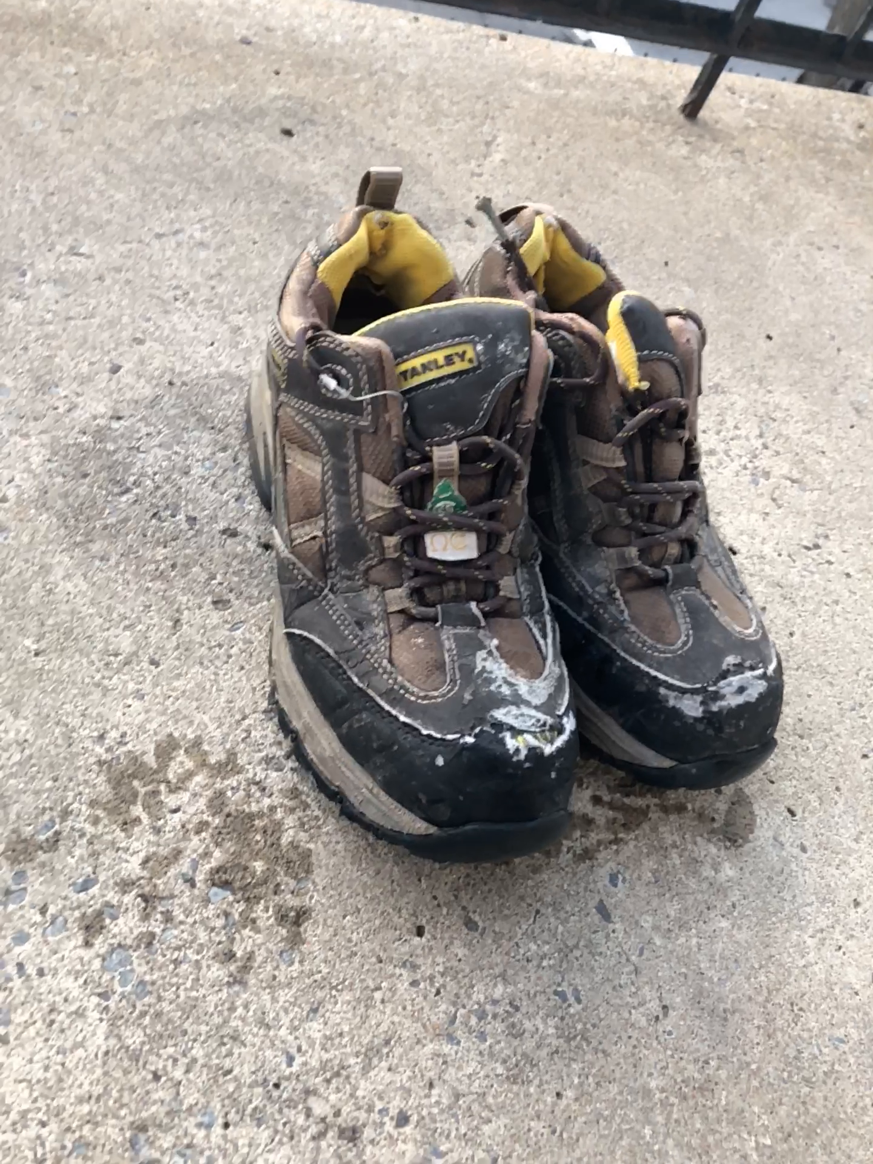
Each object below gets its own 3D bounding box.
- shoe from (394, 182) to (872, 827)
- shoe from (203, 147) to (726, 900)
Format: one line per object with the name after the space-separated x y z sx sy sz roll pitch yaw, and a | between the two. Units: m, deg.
0.088 -0.036 0.451 0.120 0.169 0.231 -5 59 -24 | shoe
-0.015 -0.027 0.391 0.100 0.149 0.251 -5 59 -24 | shoe
